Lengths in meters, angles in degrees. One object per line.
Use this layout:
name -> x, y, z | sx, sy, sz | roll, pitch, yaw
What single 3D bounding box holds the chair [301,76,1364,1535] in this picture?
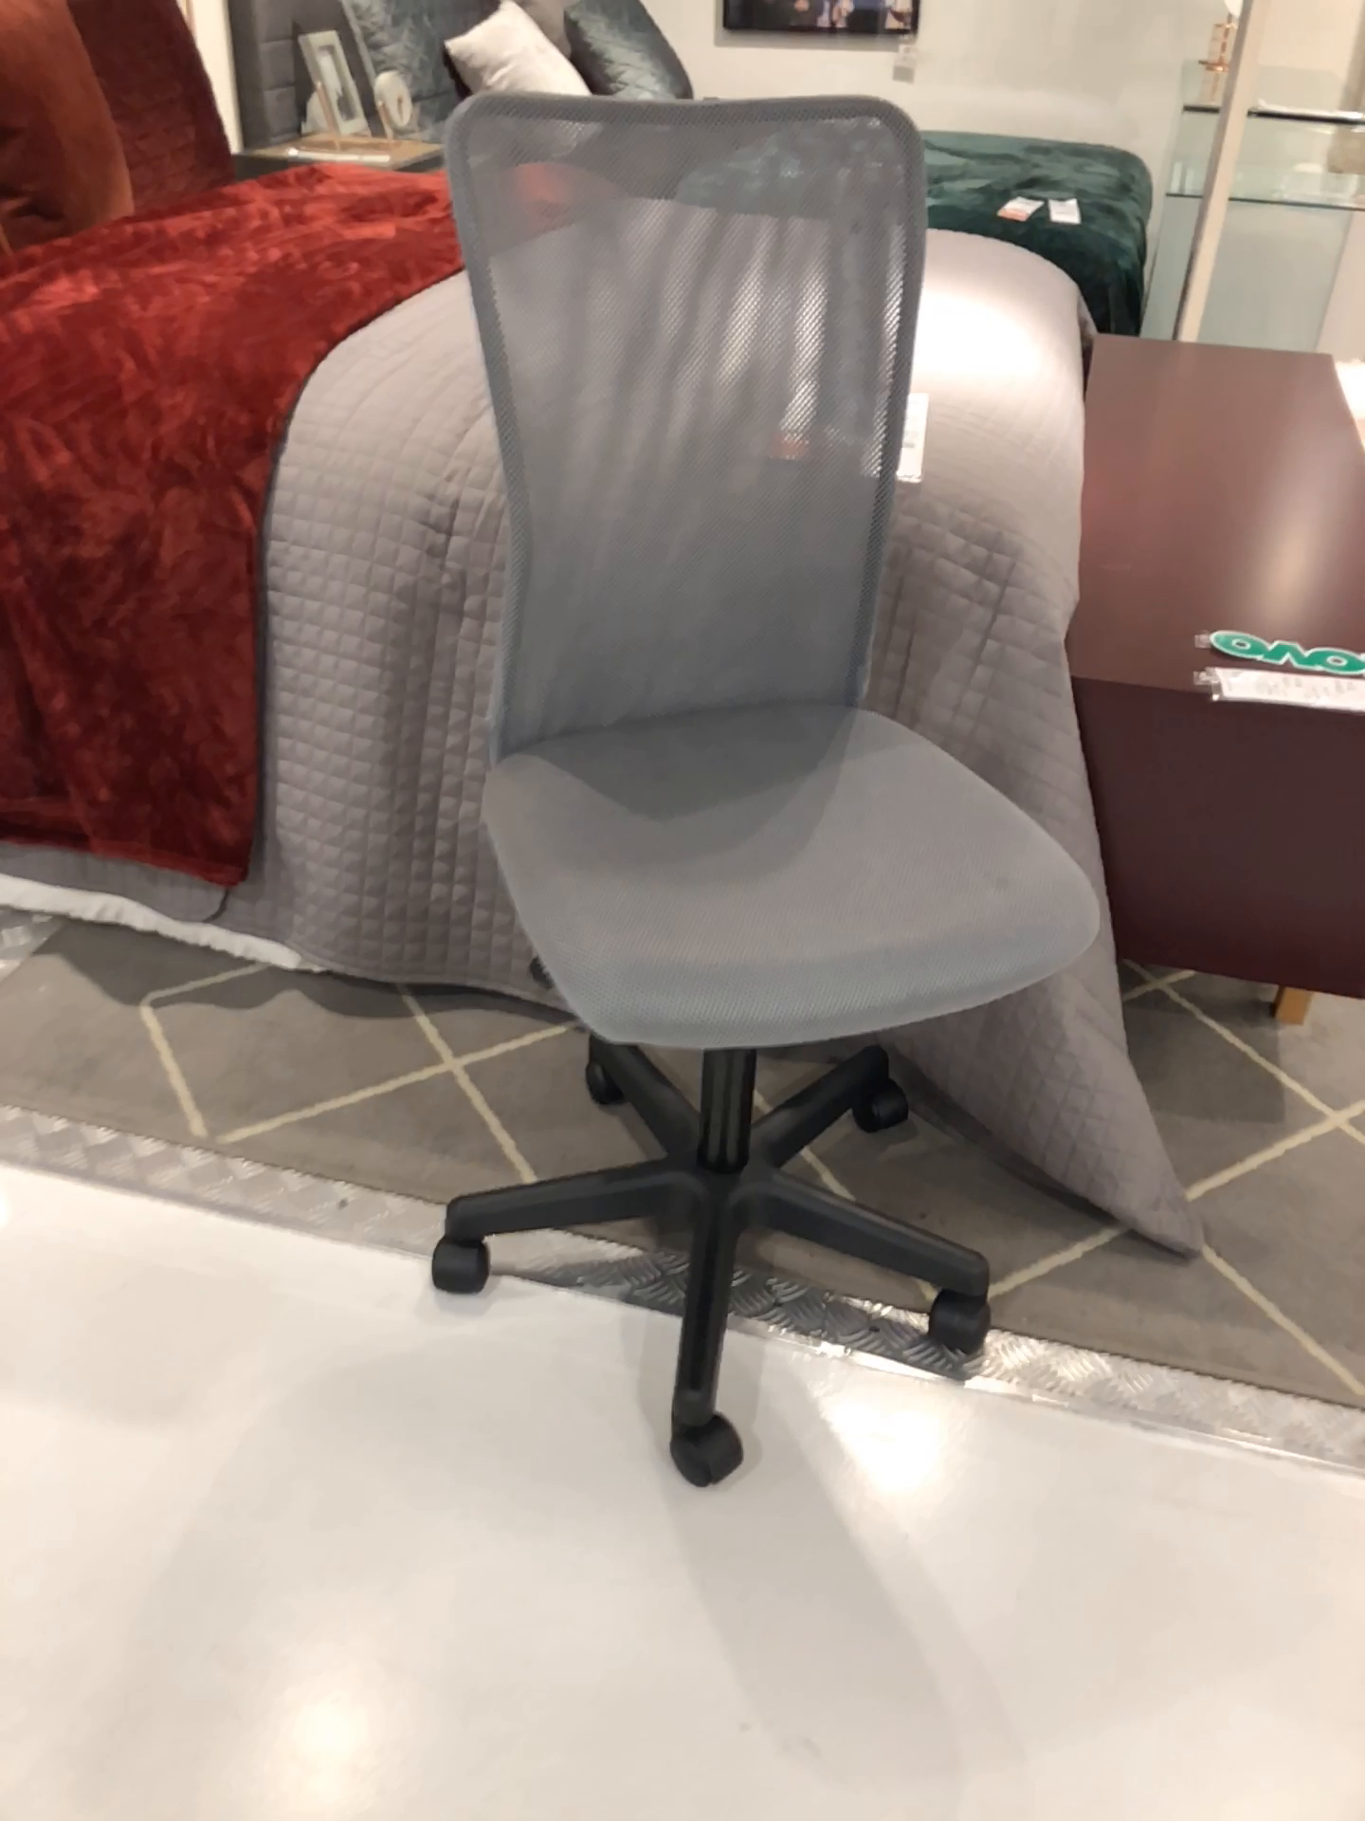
chair -> 0.033, -0.110, 1.231 | 0.560, 0.942, 0.645 | -6, 35, -12
